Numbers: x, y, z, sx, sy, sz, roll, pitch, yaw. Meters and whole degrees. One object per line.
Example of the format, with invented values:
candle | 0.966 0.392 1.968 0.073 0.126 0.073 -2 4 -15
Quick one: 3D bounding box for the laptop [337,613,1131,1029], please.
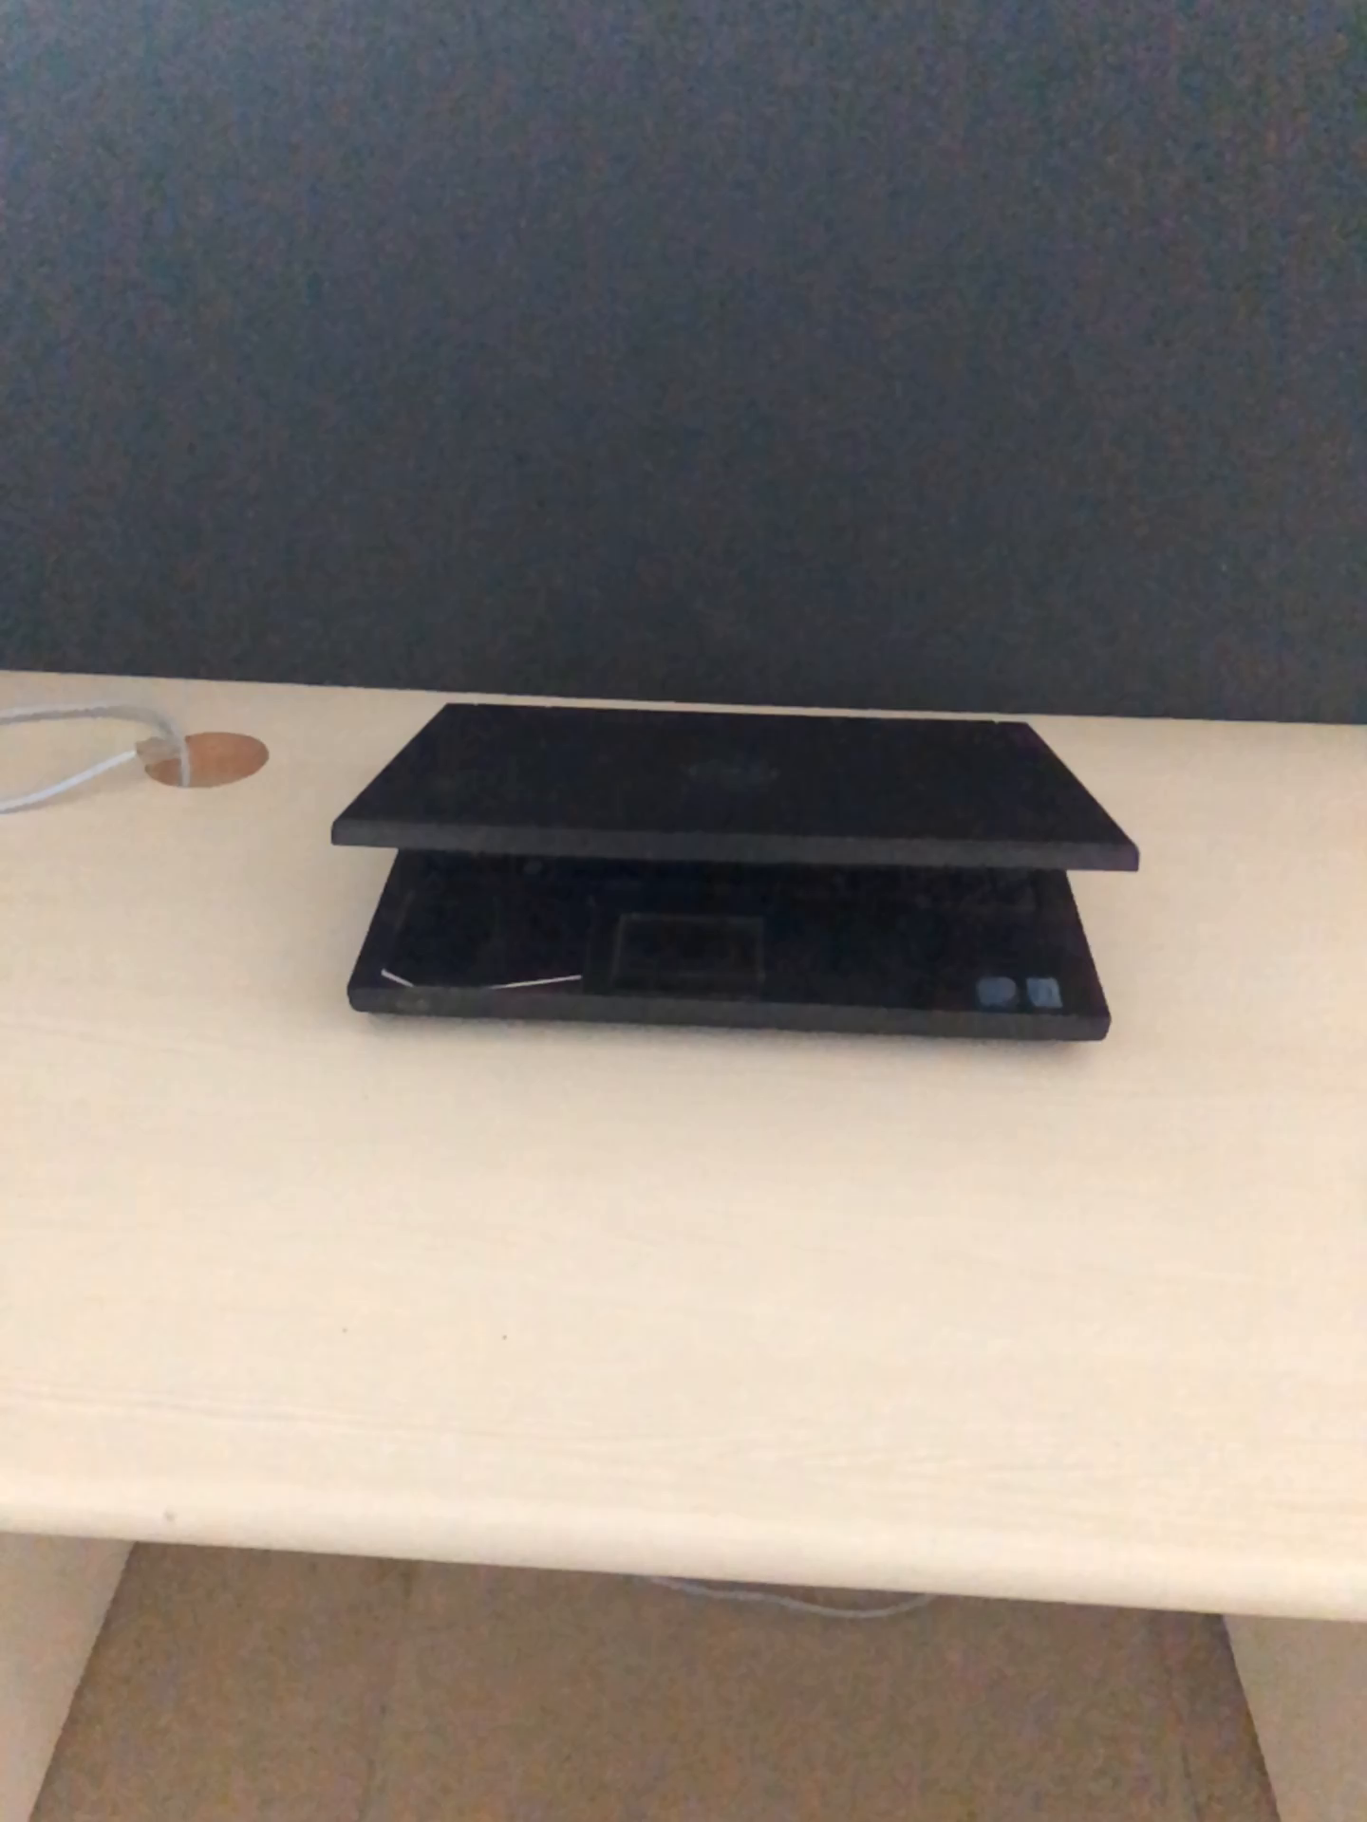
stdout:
laptop | 0.024 -0.052 0.684 0.302 0.064 0.231 2 35 2
